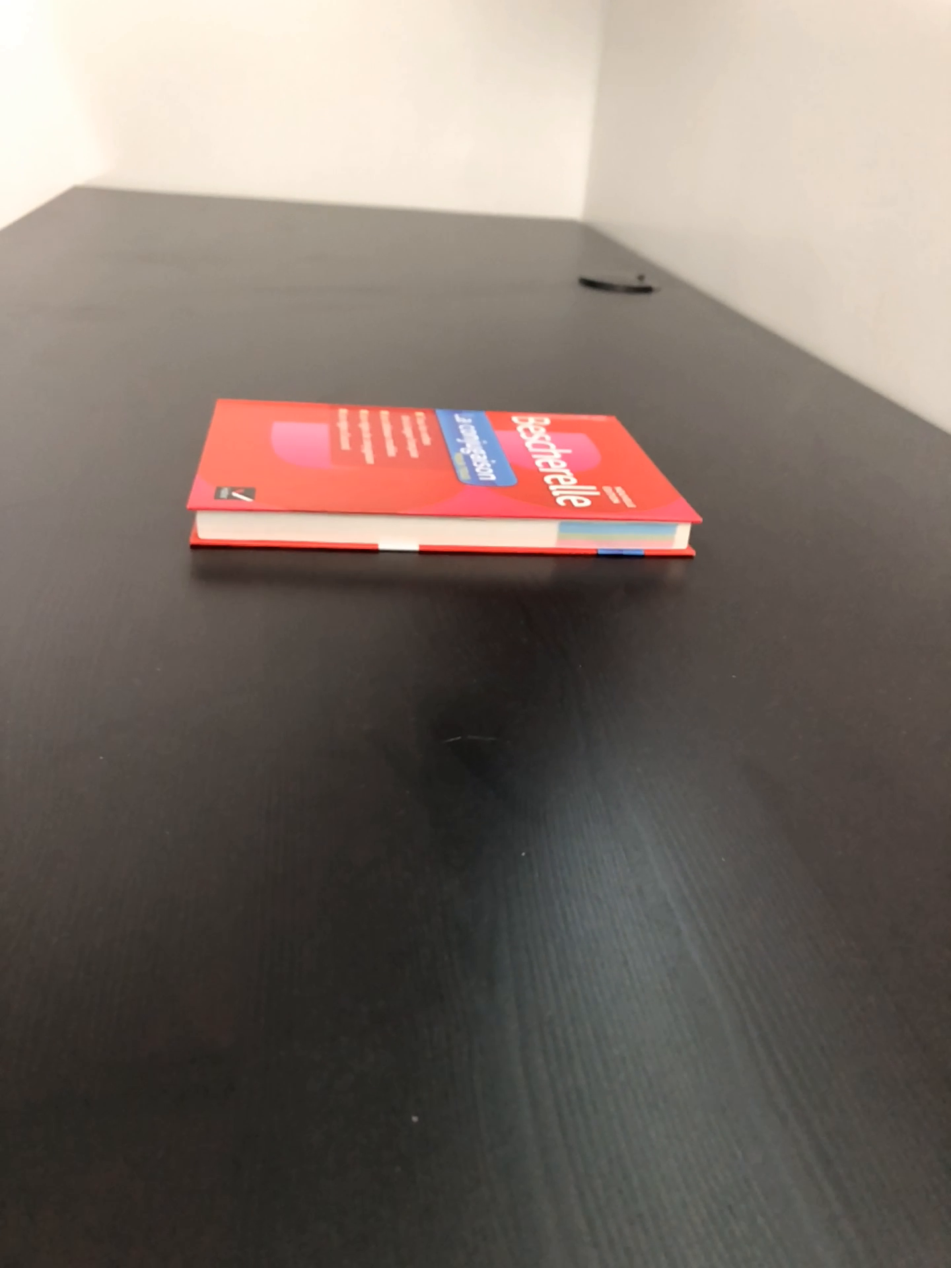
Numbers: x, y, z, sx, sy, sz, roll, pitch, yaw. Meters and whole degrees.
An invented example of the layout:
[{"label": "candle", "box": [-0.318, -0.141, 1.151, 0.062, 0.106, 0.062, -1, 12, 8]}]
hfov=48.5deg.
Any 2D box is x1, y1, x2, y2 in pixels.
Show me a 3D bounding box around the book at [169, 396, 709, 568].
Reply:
[{"label": "book", "box": [-0.019, -0.071, 0.466, 0.203, 0.020, 0.151, 1, 27, -8]}]
